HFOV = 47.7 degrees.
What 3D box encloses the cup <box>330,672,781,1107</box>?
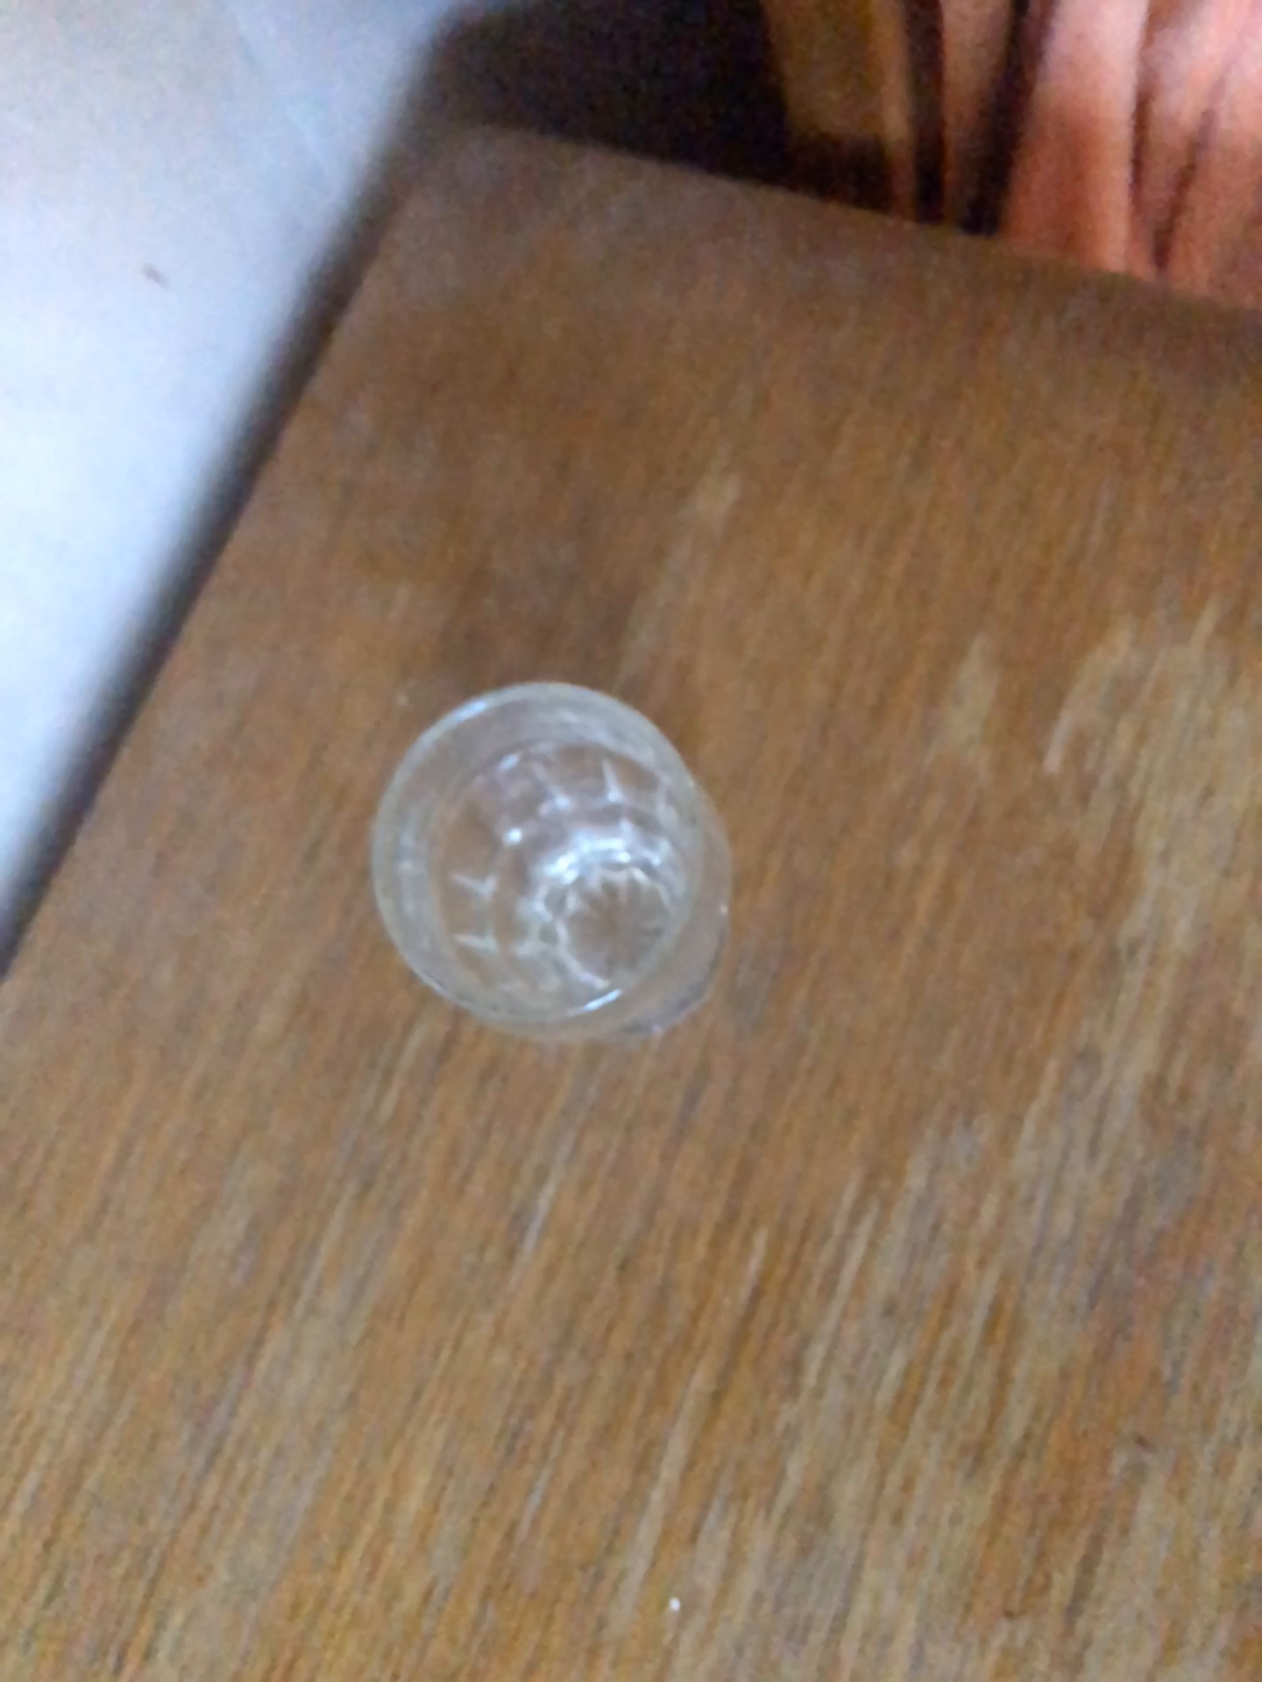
[{"bbox_3d":[-0.008,0.012,0.257,0.060,0.070,0.060,-4,72,11],"label":"cup"}]
